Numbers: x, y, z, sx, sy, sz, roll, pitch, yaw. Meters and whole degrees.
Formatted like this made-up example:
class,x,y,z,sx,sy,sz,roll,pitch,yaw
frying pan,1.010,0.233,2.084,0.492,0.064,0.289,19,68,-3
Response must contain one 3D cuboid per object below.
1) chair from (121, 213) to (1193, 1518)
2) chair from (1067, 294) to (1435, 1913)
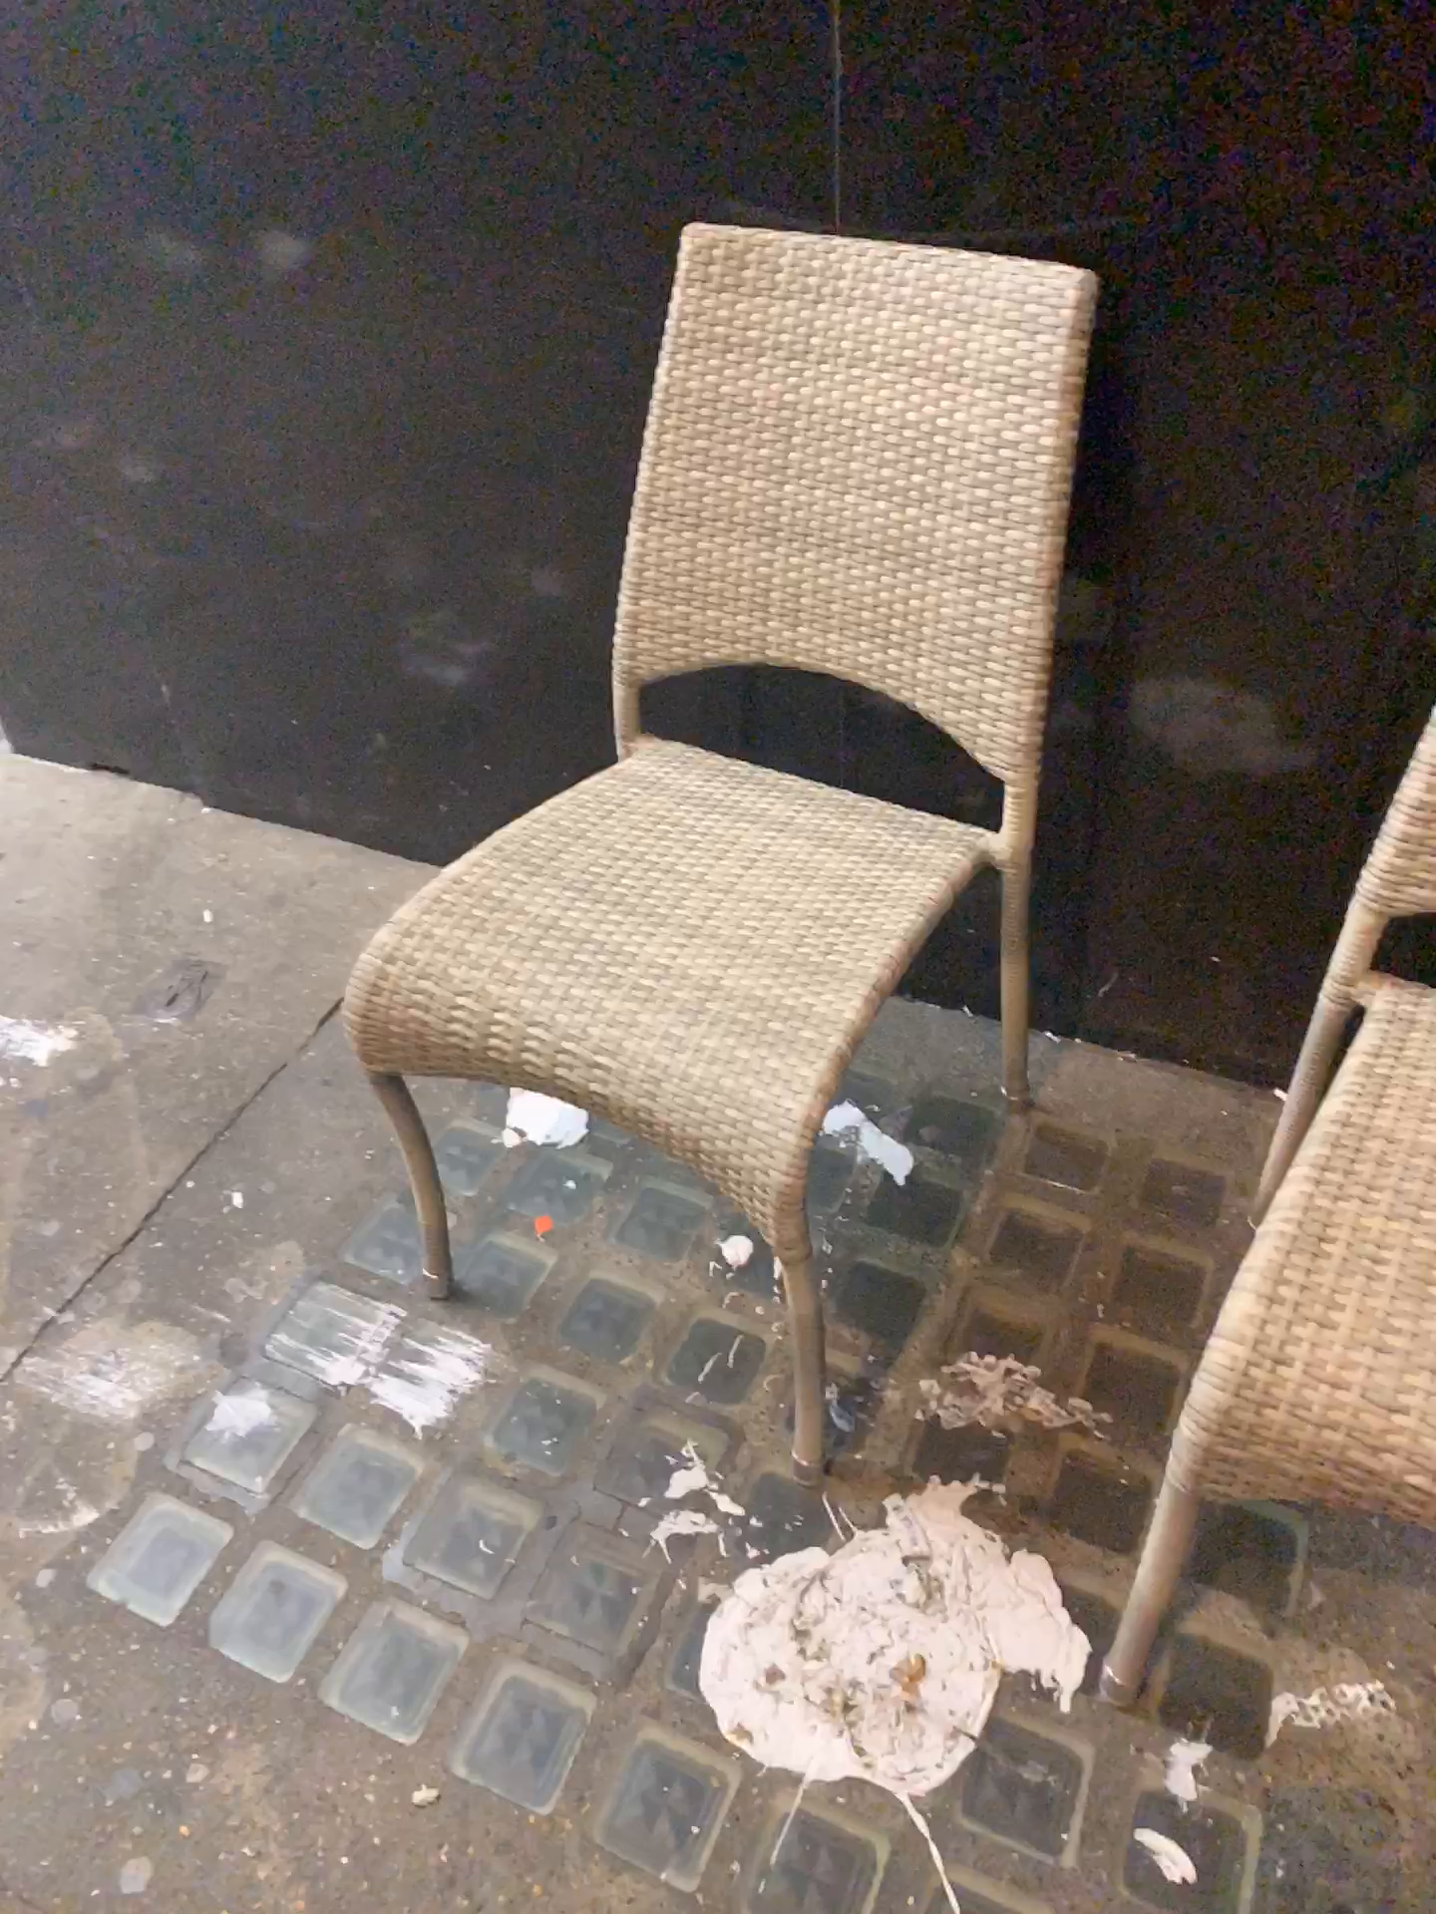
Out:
class,x,y,z,sx,sy,sz,roll,pitch,yaw
chair,0.019,-0.094,1.259,0.482,0.831,0.614,18,45,25
chair,0.680,0.125,0.959,0.582,0.901,0.604,20,38,27
